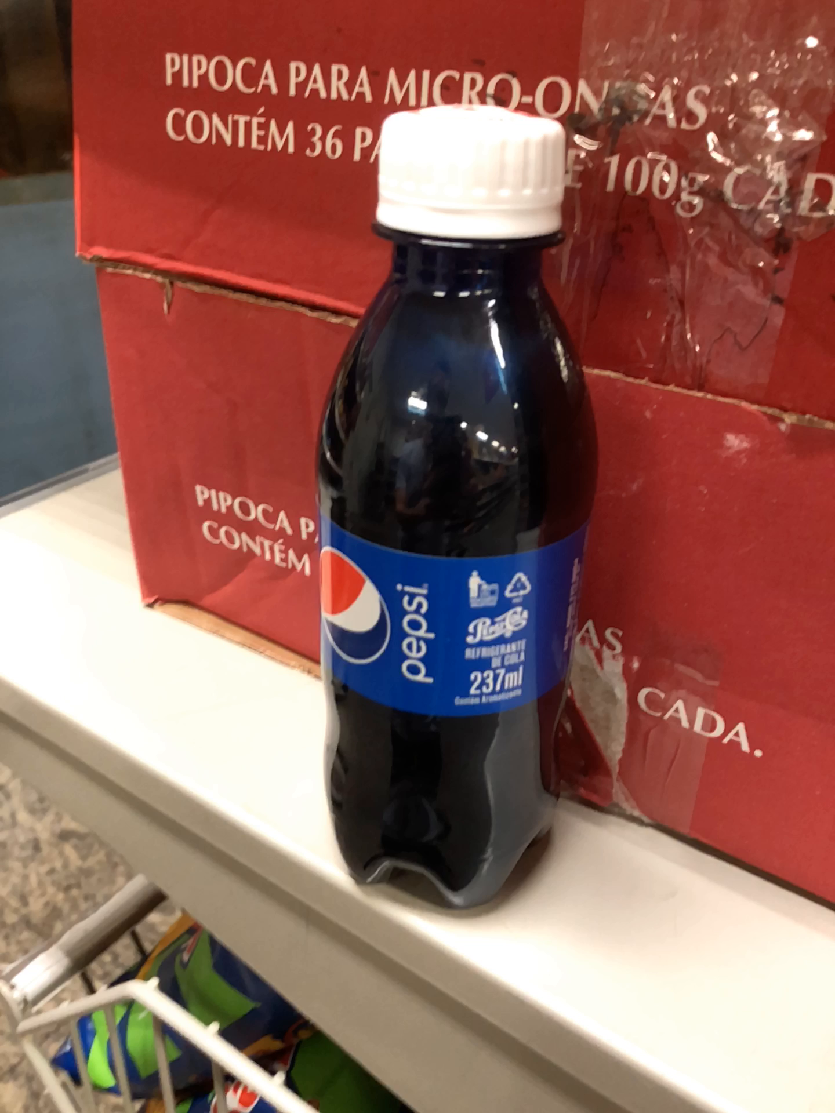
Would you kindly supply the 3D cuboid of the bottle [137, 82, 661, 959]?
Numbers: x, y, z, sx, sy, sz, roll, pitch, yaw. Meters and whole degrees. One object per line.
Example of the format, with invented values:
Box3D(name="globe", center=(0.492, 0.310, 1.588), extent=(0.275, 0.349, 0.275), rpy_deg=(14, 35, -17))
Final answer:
Box3D(name="bottle", center=(0.001, -0.008, 0.182), extent=(0.060, 0.149, 0.060), rpy_deg=(-1, 27, 1))
